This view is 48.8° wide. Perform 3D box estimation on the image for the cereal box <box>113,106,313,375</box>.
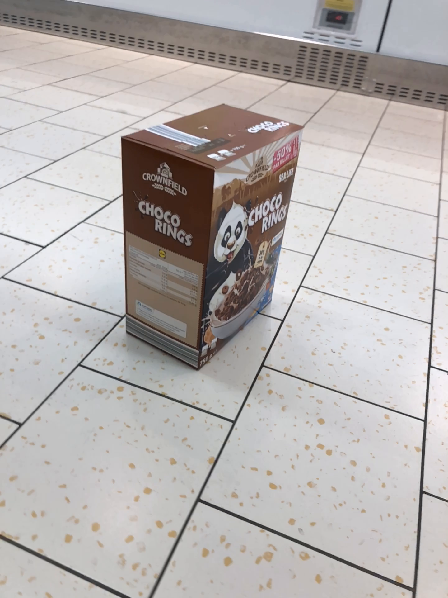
[{"bbox_3d":[-0.015,-0.080,0.613,0.130,0.248,0.201,25,39,24],"label":"cereal box"}]
